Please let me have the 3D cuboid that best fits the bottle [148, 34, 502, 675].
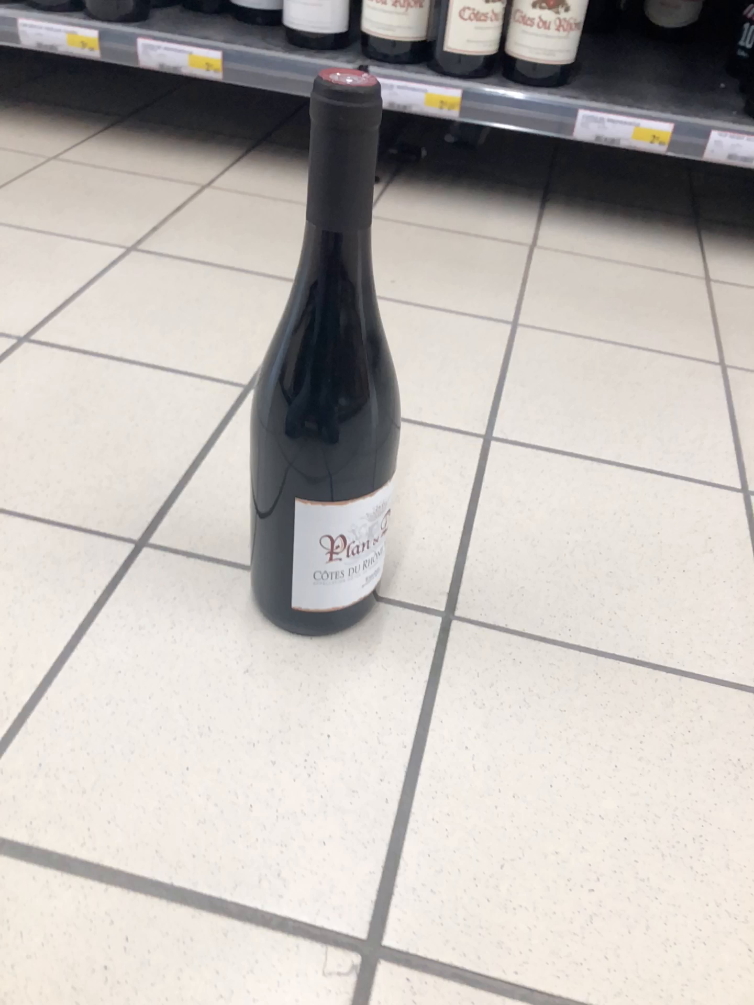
[{"bbox_3d":[-0.033,-0.062,0.422,0.100,0.288,0.101,4,39,-3],"label":"bottle"}]
